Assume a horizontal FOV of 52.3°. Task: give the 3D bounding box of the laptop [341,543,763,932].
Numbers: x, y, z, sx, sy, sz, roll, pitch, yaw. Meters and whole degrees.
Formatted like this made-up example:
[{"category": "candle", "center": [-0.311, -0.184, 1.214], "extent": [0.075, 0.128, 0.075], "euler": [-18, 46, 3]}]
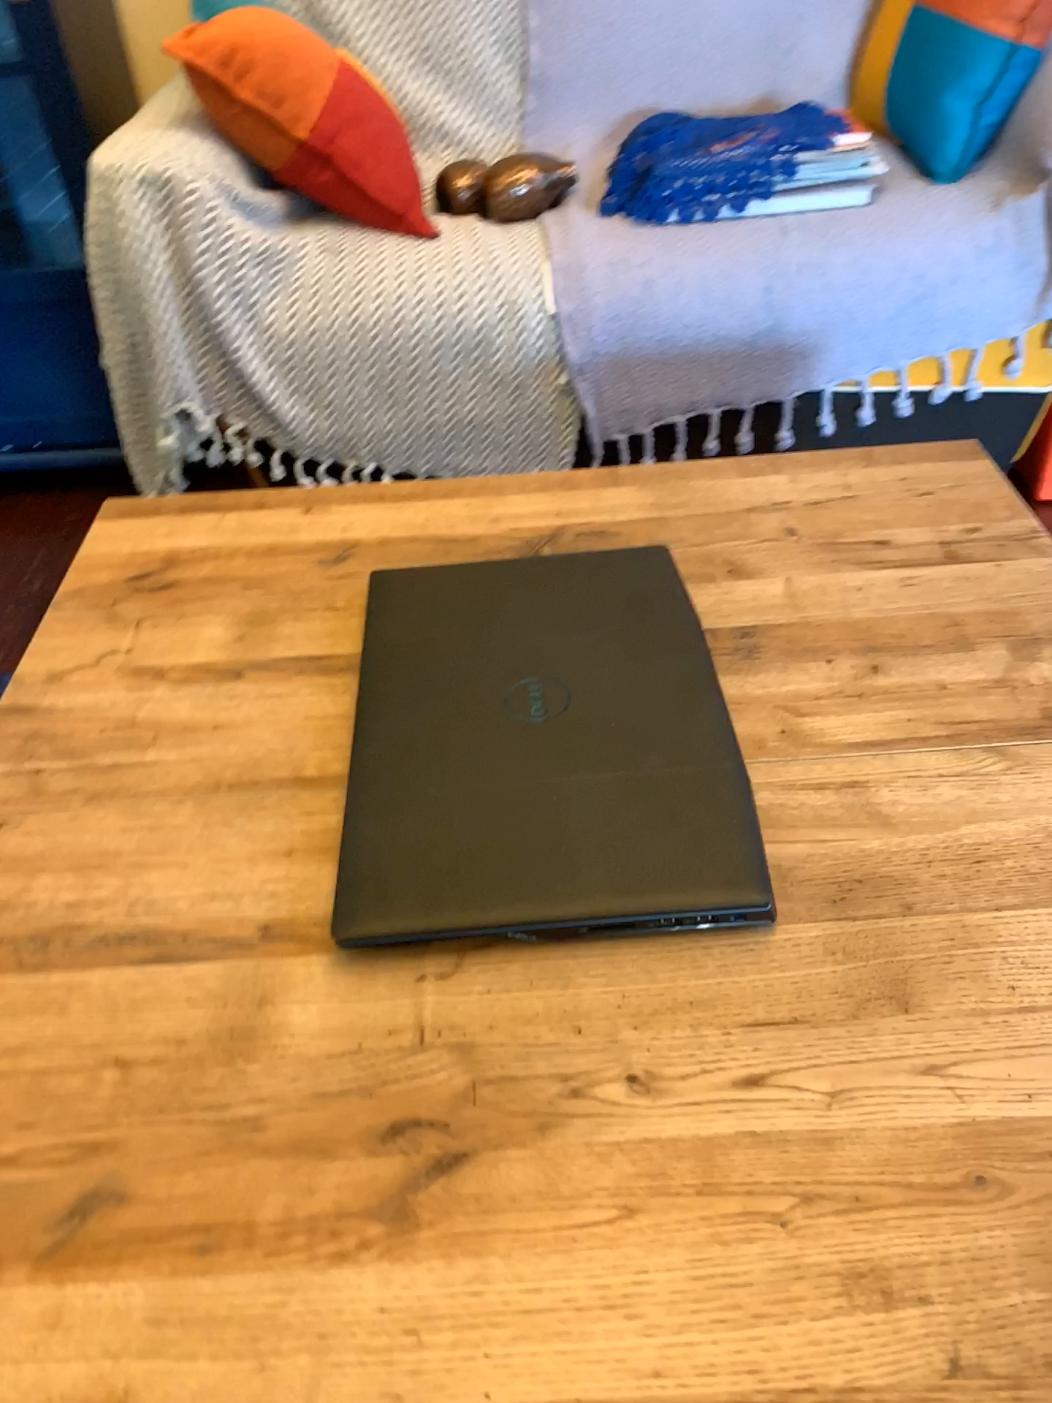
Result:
[{"category": "laptop", "center": [0.007, 0.000, 0.707], "extent": [0.227, 0.001, 0.348], "euler": [-5, 40, 0]}]
